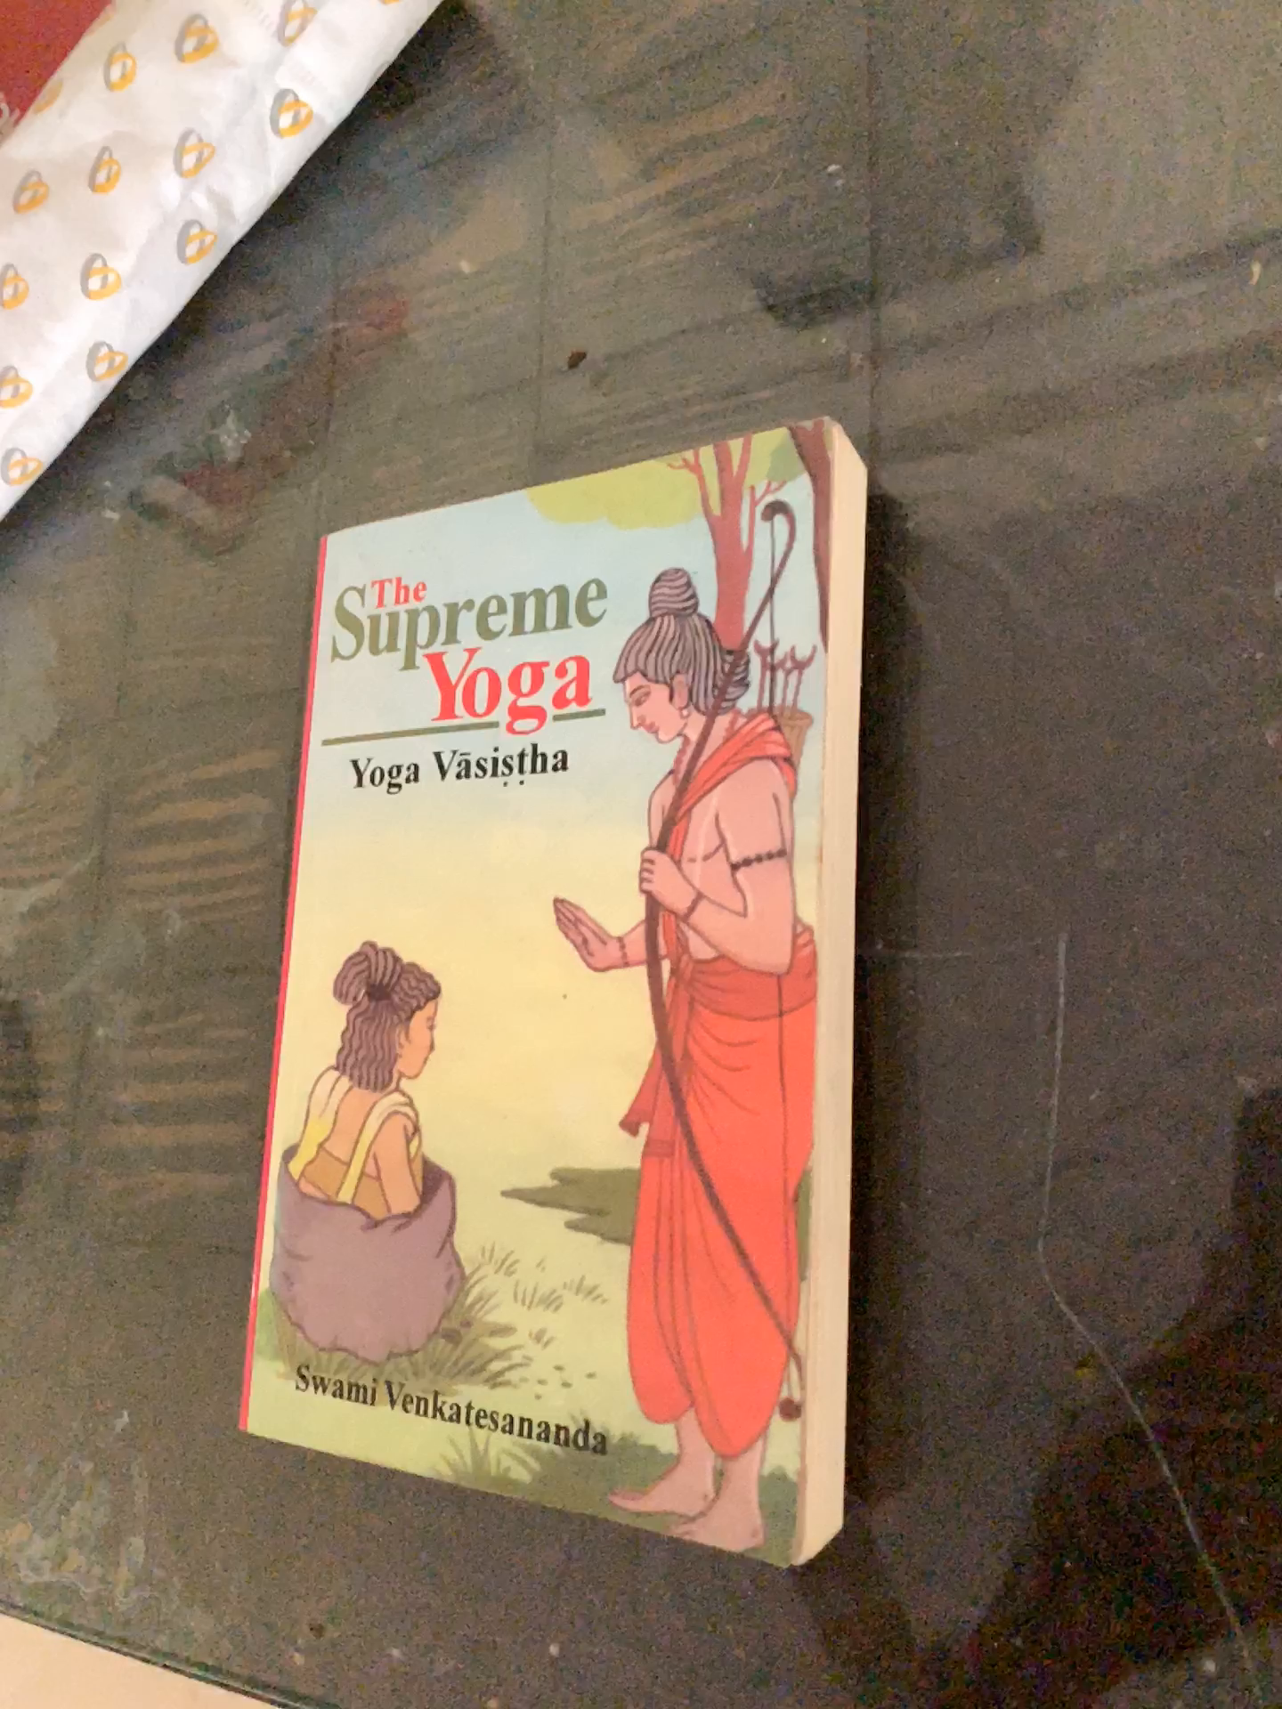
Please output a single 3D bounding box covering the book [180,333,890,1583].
[{"bbox_3d":[-0.022,0.014,0.270,0.140,0.030,0.210,-4,77,31],"label":"book"}]
